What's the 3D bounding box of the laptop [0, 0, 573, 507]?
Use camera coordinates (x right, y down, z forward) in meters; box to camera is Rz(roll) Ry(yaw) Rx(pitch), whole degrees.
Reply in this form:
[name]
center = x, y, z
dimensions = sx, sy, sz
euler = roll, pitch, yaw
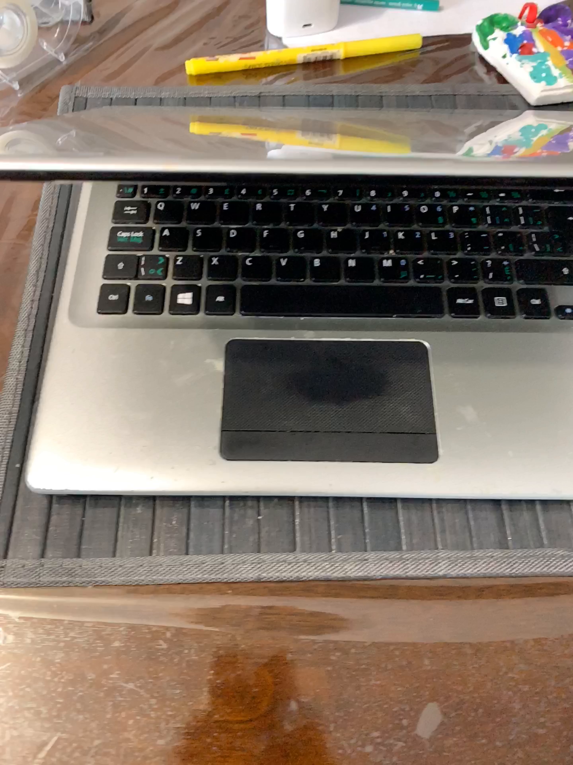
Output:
[laptop]
center = 0.049, -0.082, 0.261
dimensions = 0.344, 0.145, 0.236
euler = 1, 65, 0
